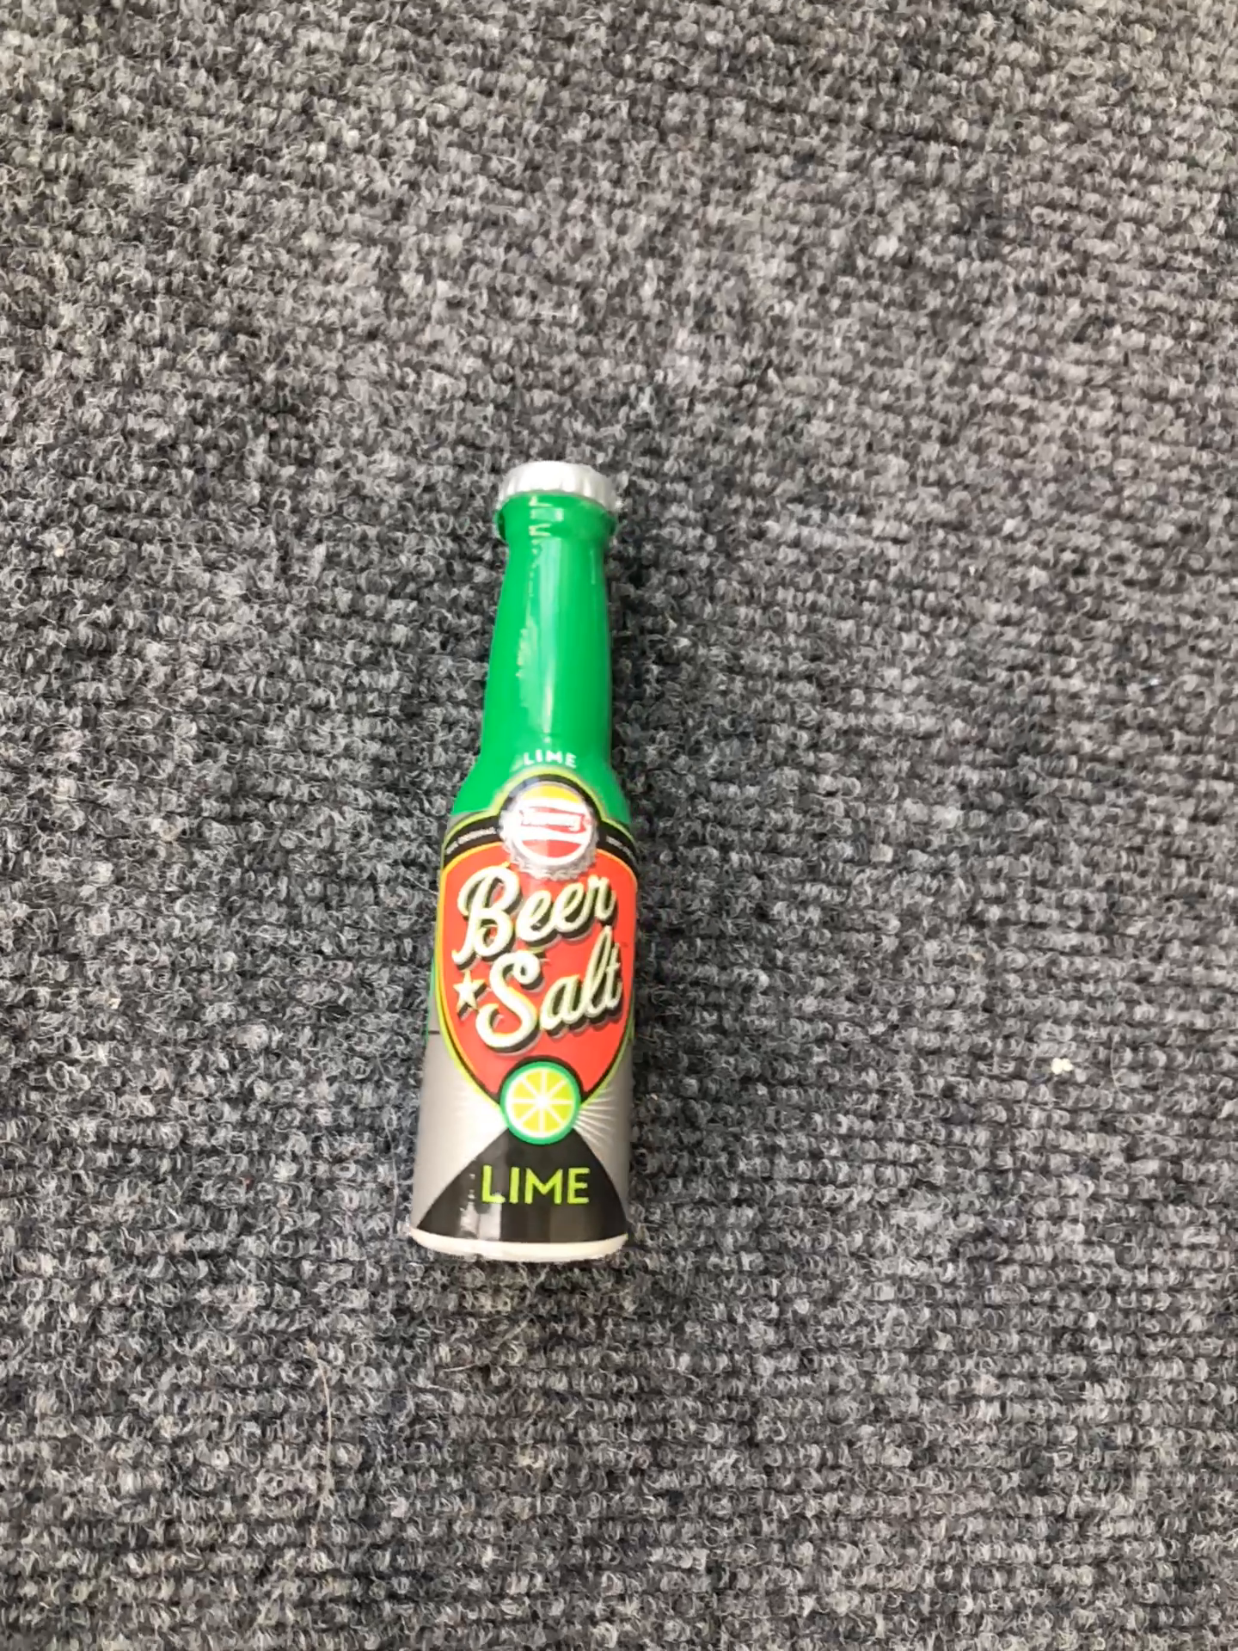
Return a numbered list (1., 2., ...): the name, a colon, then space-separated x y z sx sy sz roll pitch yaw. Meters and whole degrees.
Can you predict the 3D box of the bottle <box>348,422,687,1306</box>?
1. bottle: -0.014 0.005 0.177 0.033 0.030 0.101 4 84 -14
